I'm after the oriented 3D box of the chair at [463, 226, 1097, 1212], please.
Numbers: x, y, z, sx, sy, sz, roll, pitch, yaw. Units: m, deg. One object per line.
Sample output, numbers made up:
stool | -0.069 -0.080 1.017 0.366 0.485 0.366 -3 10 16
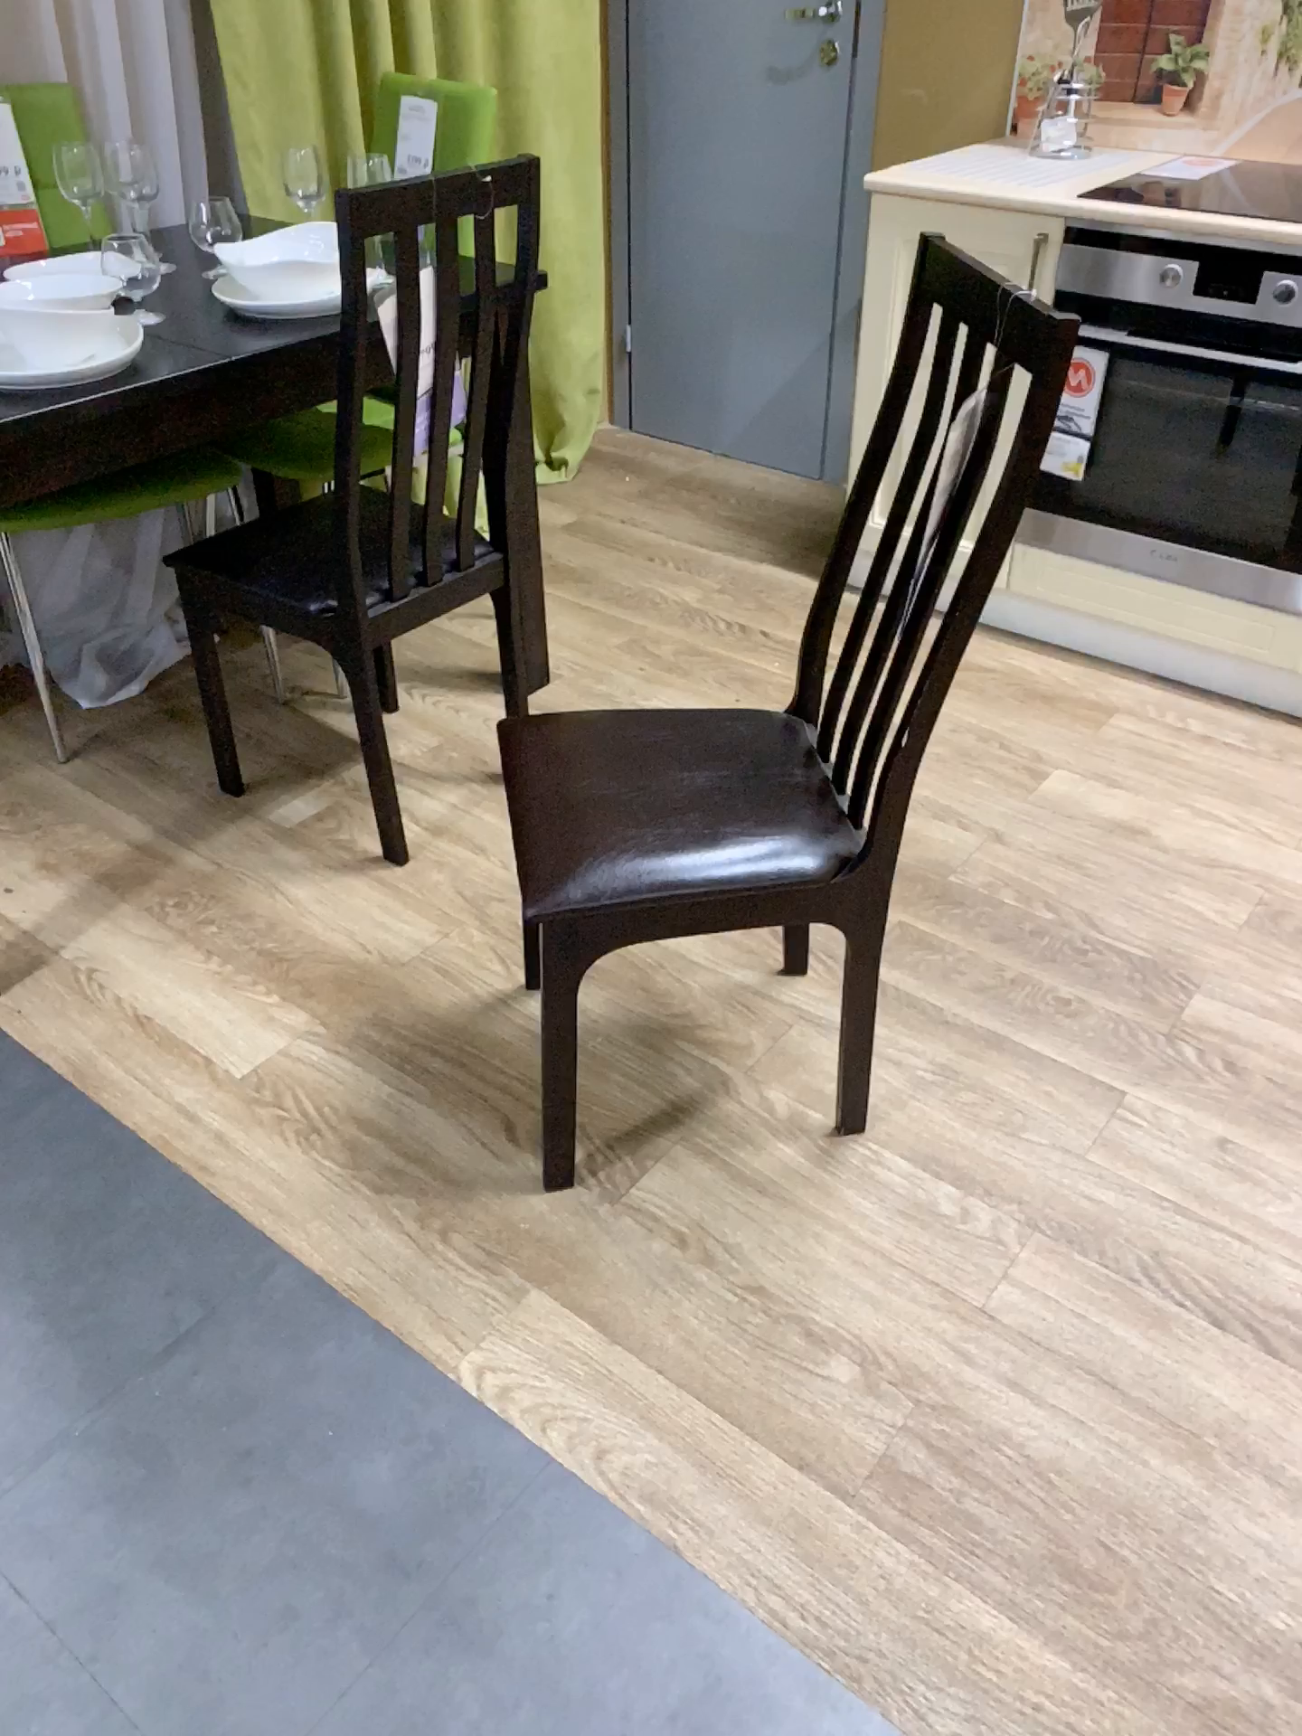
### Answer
chair | 0.085 -0.135 1.500 0.490 0.985 0.422 -5 36 -7
